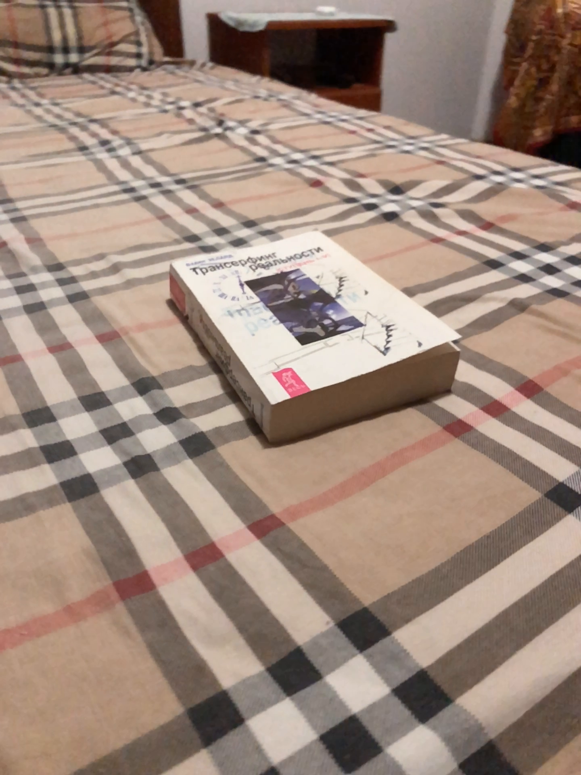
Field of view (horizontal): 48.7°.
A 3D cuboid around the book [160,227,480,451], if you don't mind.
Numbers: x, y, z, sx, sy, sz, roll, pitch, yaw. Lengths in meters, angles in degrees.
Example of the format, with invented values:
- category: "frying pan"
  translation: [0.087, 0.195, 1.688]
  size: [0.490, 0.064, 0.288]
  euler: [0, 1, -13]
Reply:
- category: "book"
  translation: [0.008, -0.050, 0.455]
  size: [0.143, 0.037, 0.203]
  euler: [-14, 39, -22]
